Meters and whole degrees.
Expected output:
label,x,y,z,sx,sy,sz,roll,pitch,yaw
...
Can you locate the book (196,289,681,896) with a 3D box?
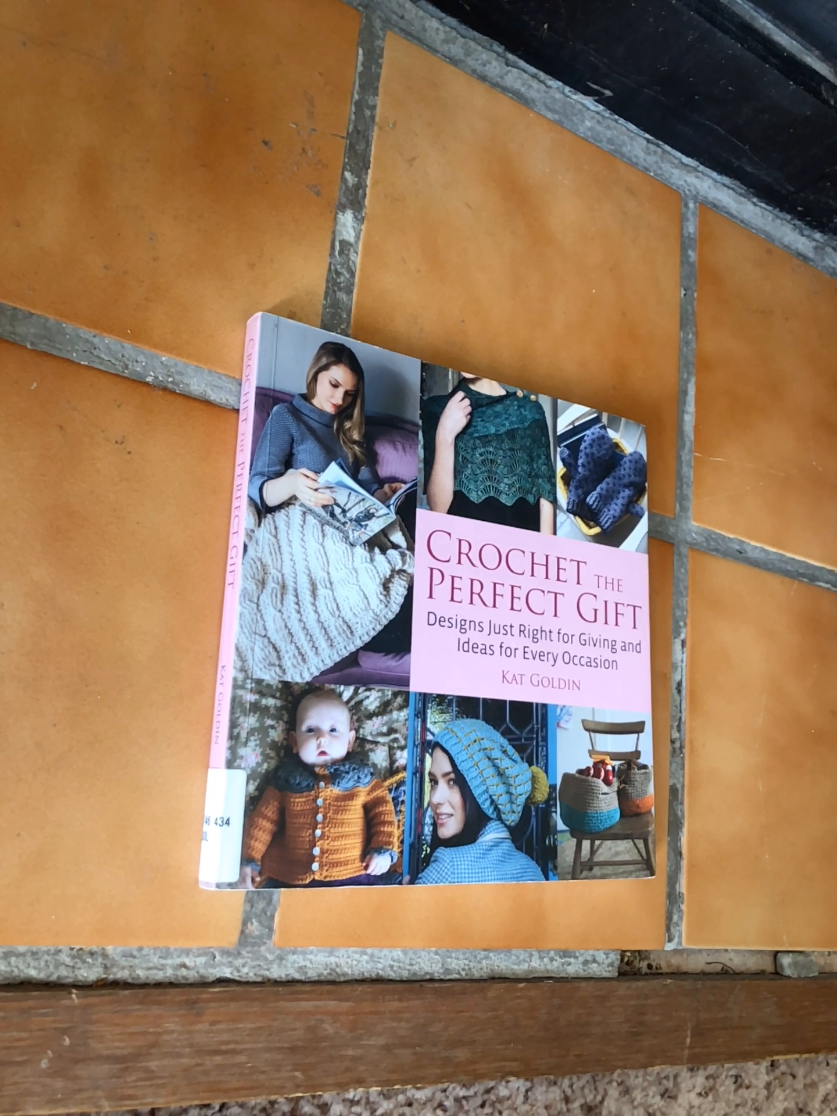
label,x,y,z,sx,sy,sz,roll,pitch,yaw
book,0.025,0.023,0.395,0.218,0.020,0.221,10,75,-30
